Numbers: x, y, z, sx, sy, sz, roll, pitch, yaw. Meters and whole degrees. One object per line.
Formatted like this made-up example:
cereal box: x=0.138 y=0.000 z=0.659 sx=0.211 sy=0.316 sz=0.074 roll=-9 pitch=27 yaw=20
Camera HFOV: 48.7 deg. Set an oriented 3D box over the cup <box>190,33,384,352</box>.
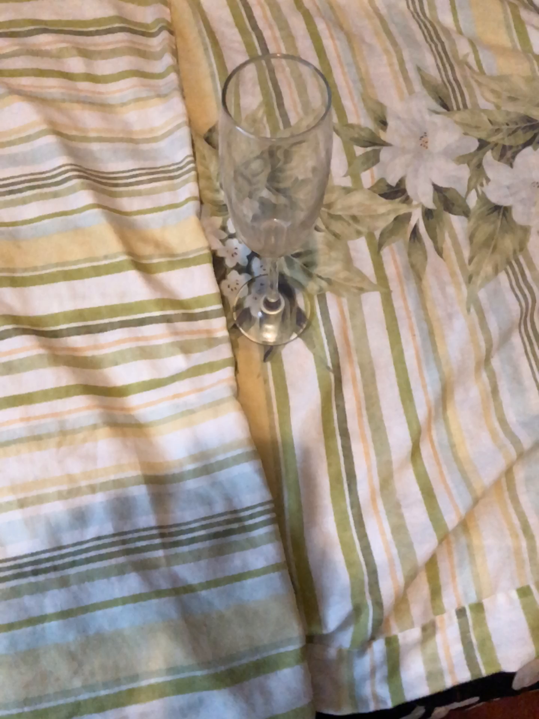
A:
cup: x=0.006 y=-0.082 z=0.377 sx=0.082 sy=0.218 sz=0.071 roll=7 pitch=70 yaw=0
